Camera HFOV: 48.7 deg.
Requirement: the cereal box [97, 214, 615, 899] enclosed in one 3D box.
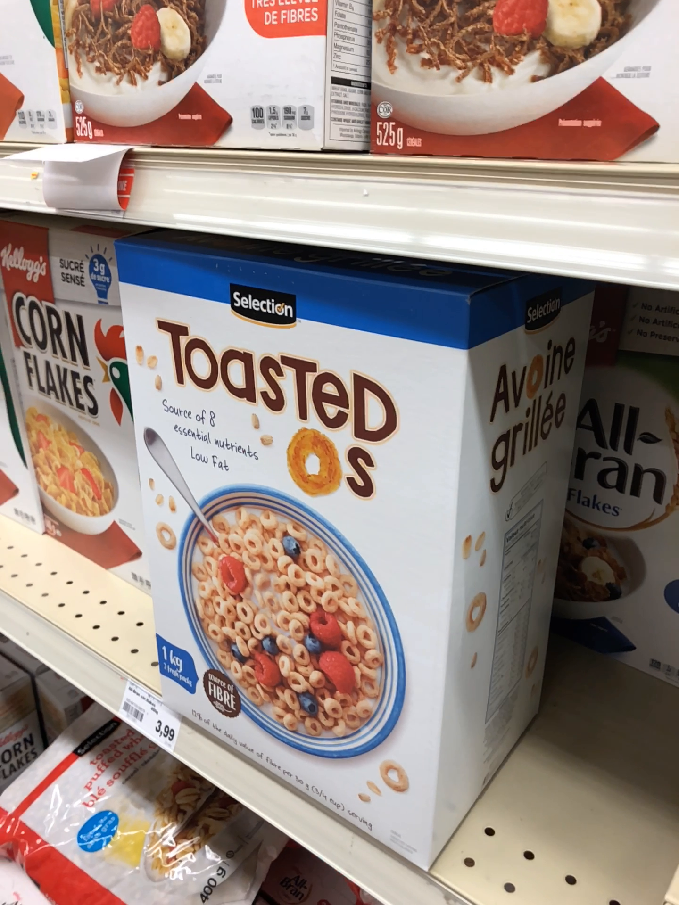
[{"bbox_3d":[0.004,0.037,0.480,0.241,0.338,0.161,16,26,33],"label":"cereal box"}]
